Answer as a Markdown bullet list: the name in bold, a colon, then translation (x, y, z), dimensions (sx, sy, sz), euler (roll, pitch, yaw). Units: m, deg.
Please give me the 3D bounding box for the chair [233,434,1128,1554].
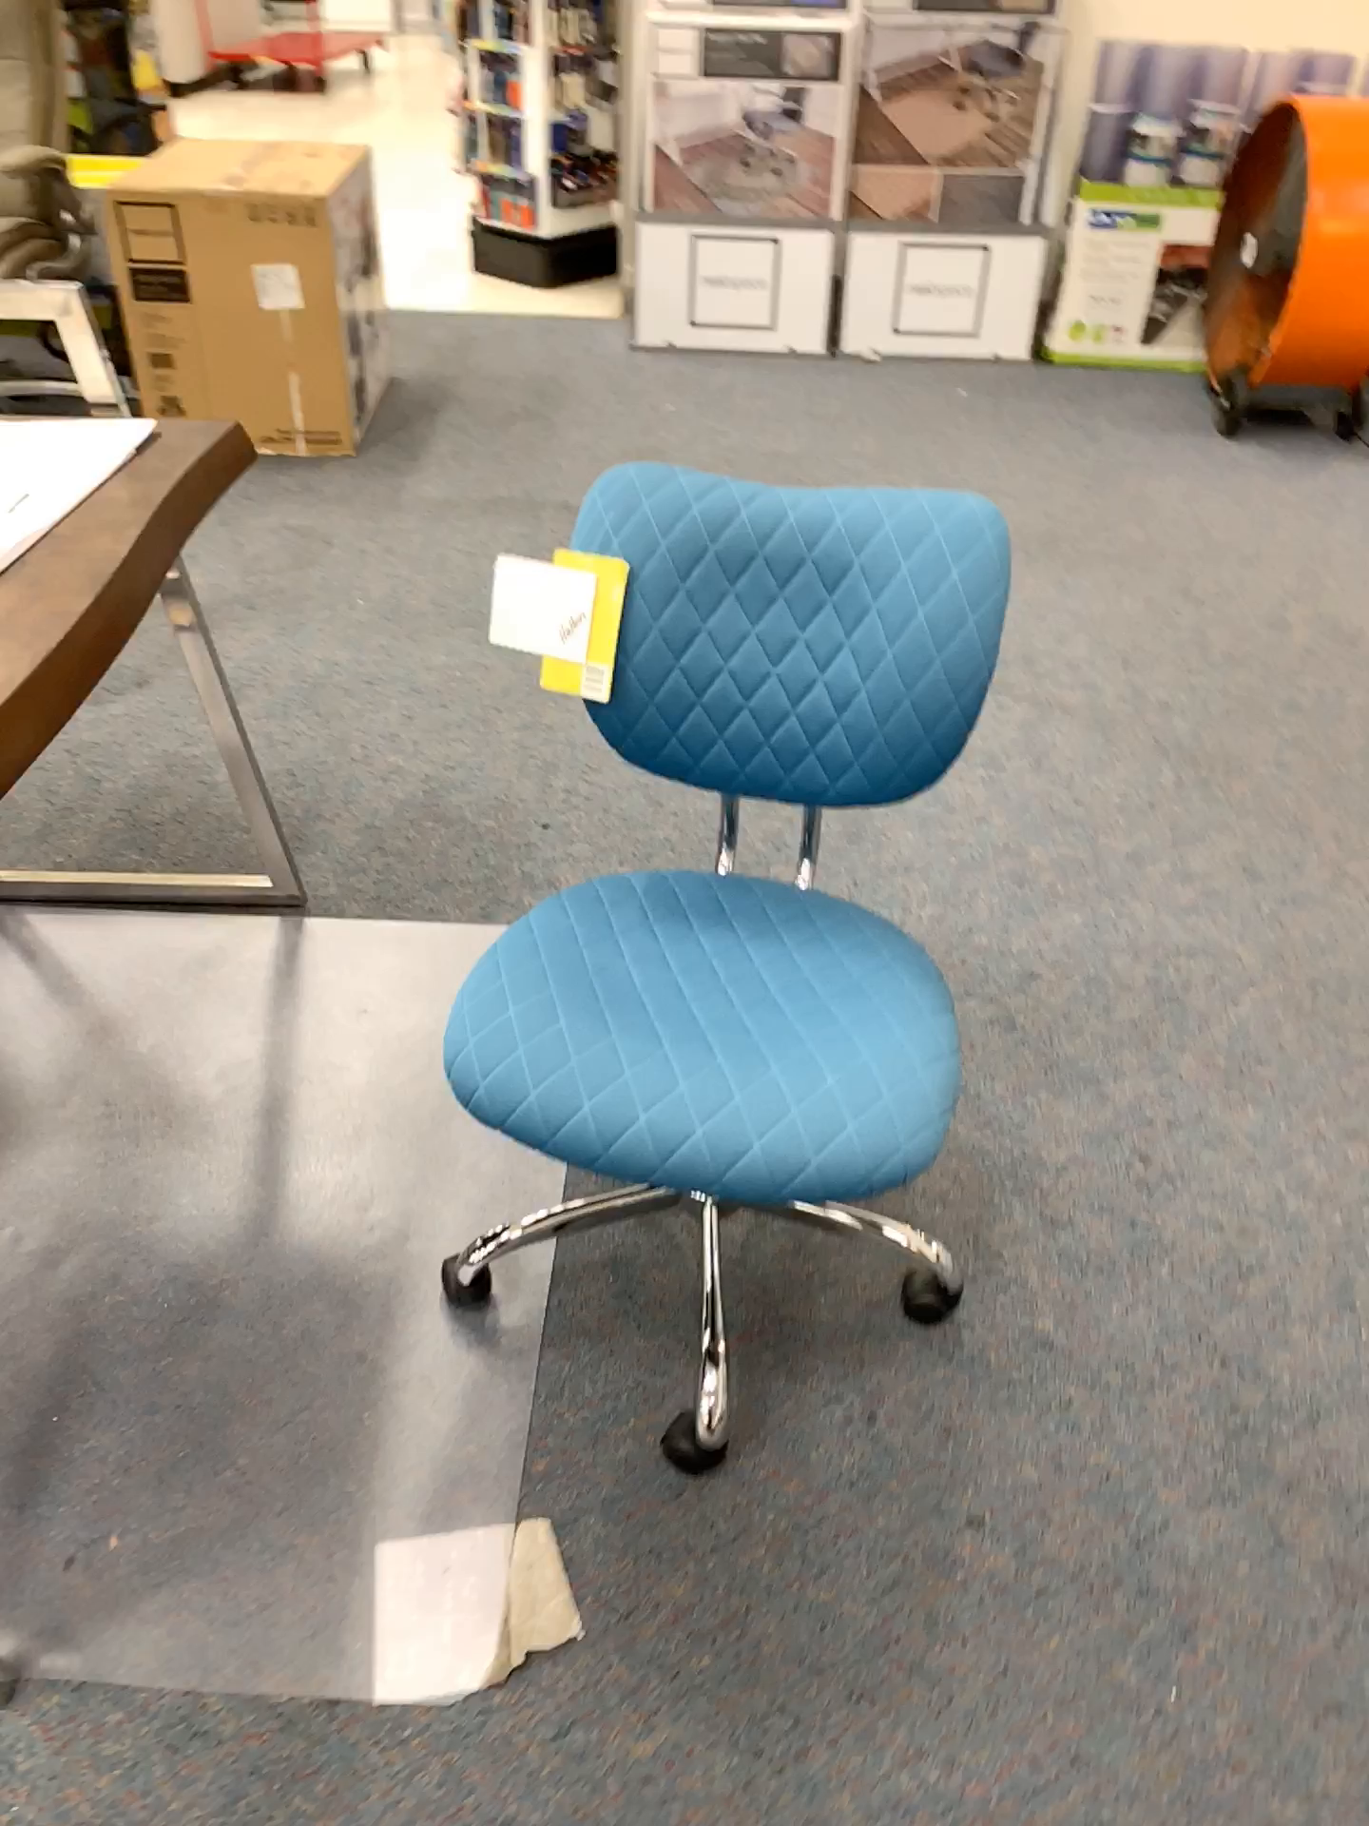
- **chair**: translation (0.050, 0.047, 1.401), dimensions (0.598, 0.775, 0.667), euler (10, 37, 11)
